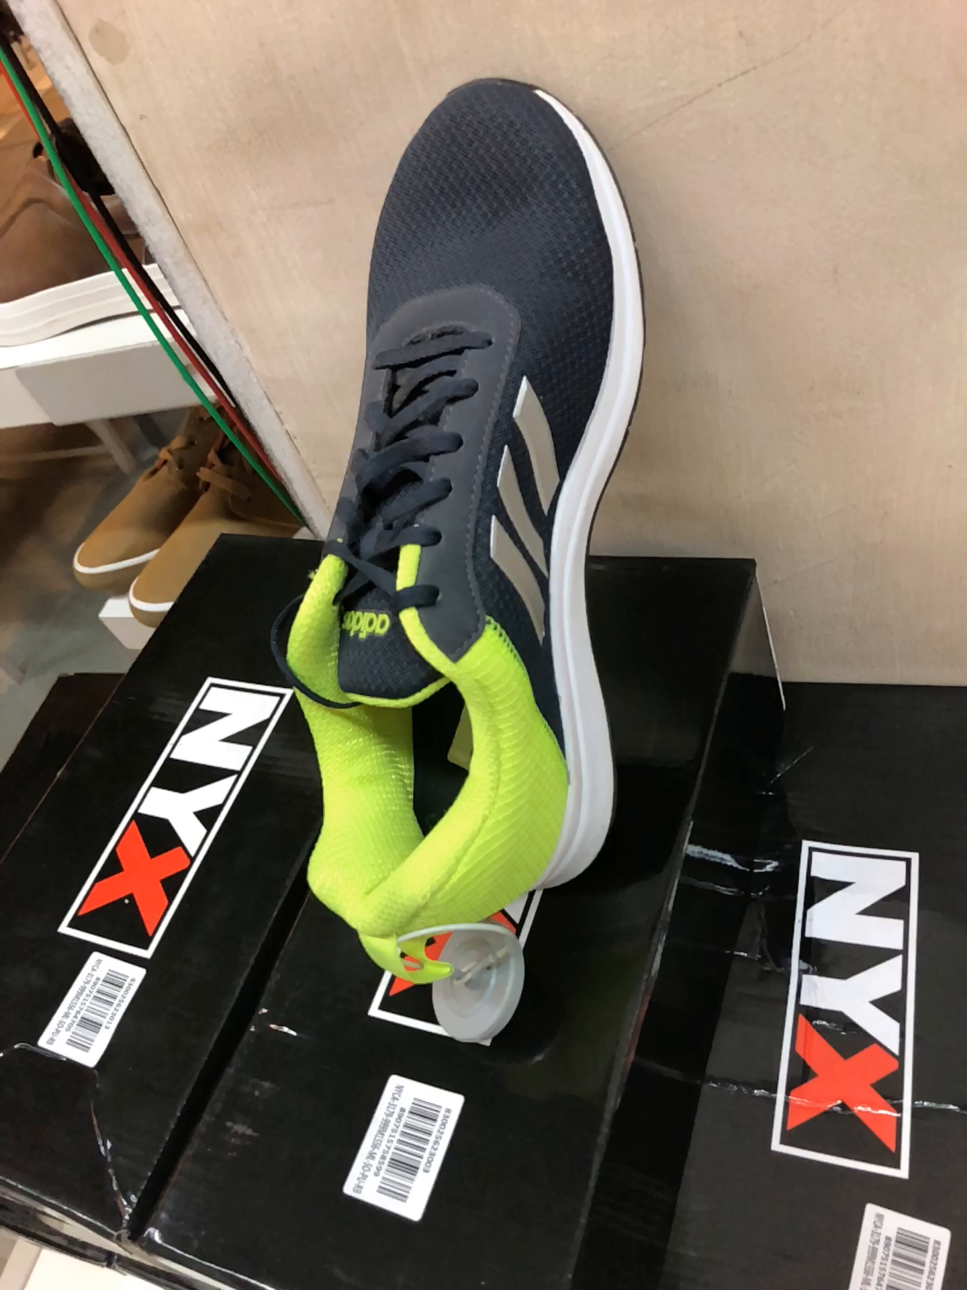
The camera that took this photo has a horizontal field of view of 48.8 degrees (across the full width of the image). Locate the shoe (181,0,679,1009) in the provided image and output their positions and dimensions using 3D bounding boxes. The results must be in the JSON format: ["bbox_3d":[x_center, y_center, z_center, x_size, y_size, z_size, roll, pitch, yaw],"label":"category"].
[{"bbox_3d":[-0.012,-0.041,0.348,0.104,0.098,0.272,3,87,31],"label":"shoe"}]
